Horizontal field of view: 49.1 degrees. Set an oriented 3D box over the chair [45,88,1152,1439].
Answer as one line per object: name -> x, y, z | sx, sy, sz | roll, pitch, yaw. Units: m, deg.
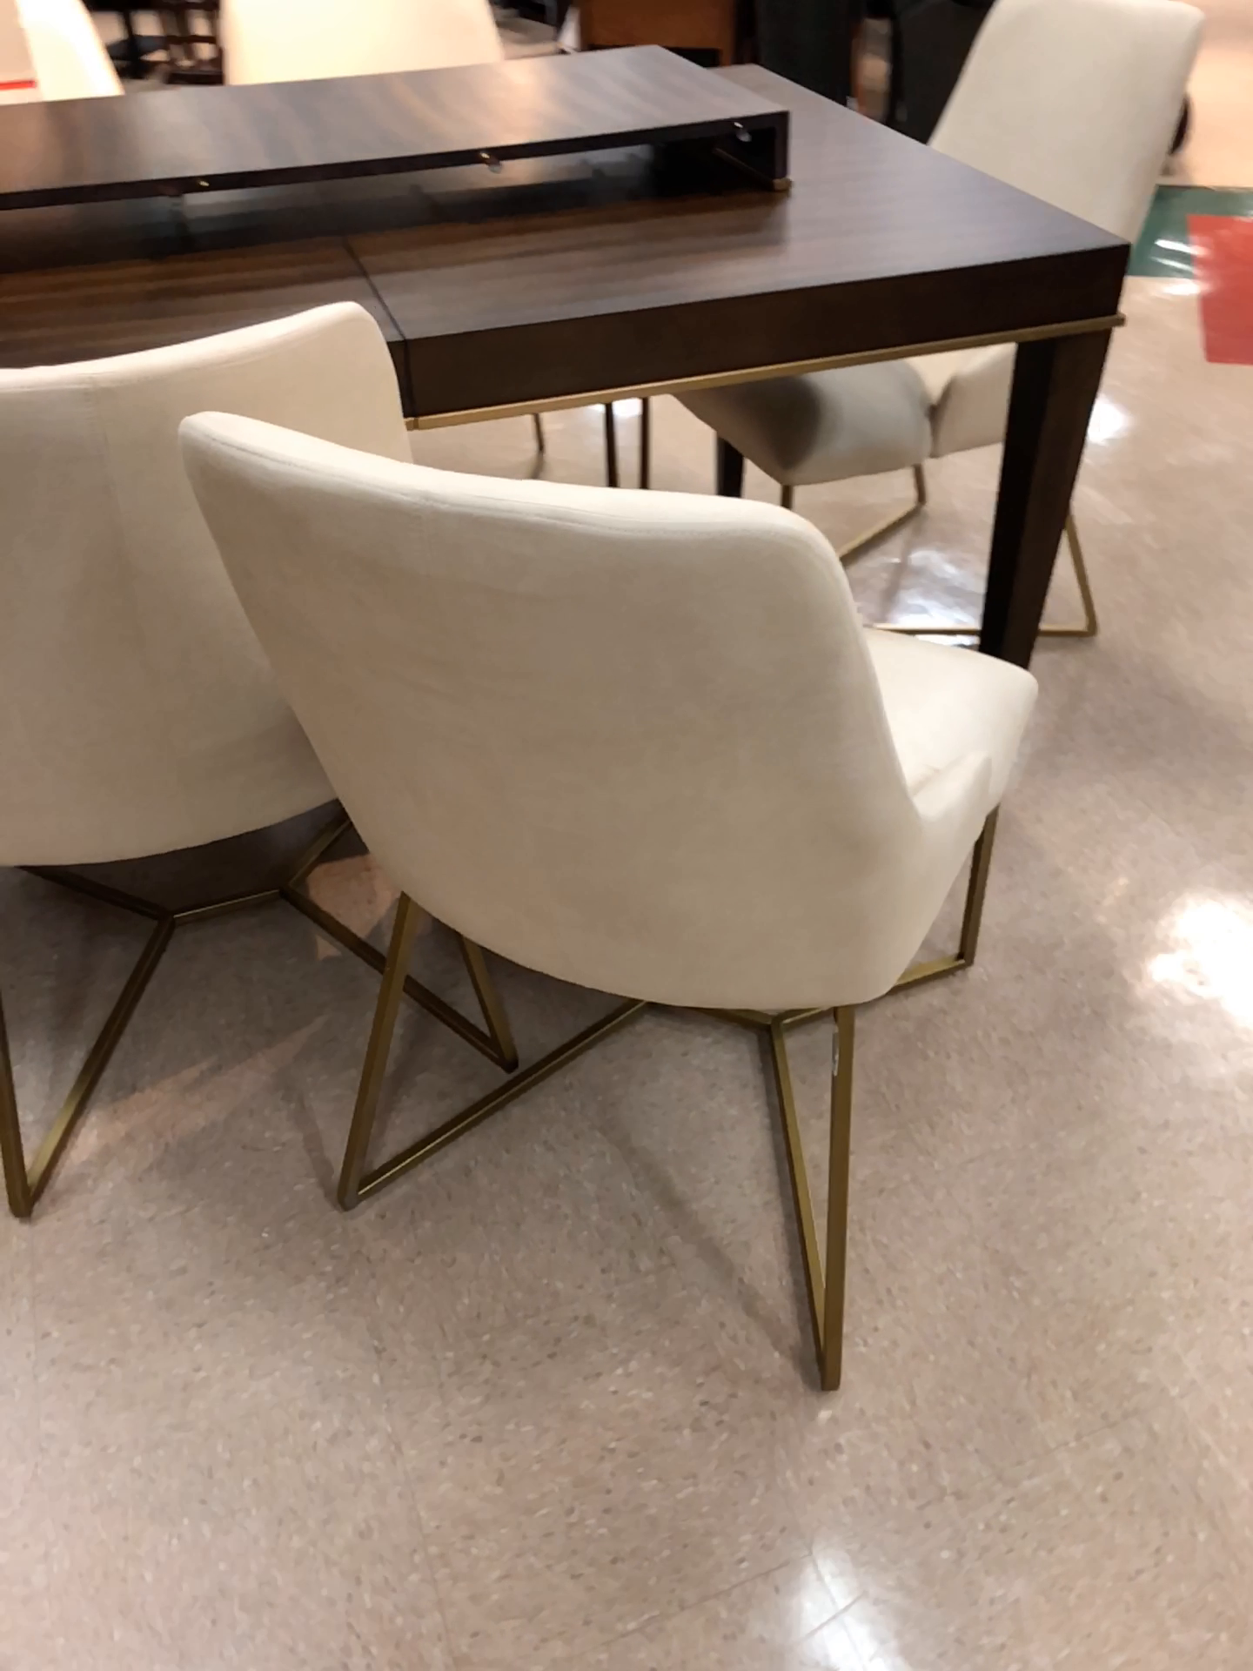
chair -> 0.047, -0.082, 1.222 | 0.541, 0.904, 0.644 | 15, 42, 19
